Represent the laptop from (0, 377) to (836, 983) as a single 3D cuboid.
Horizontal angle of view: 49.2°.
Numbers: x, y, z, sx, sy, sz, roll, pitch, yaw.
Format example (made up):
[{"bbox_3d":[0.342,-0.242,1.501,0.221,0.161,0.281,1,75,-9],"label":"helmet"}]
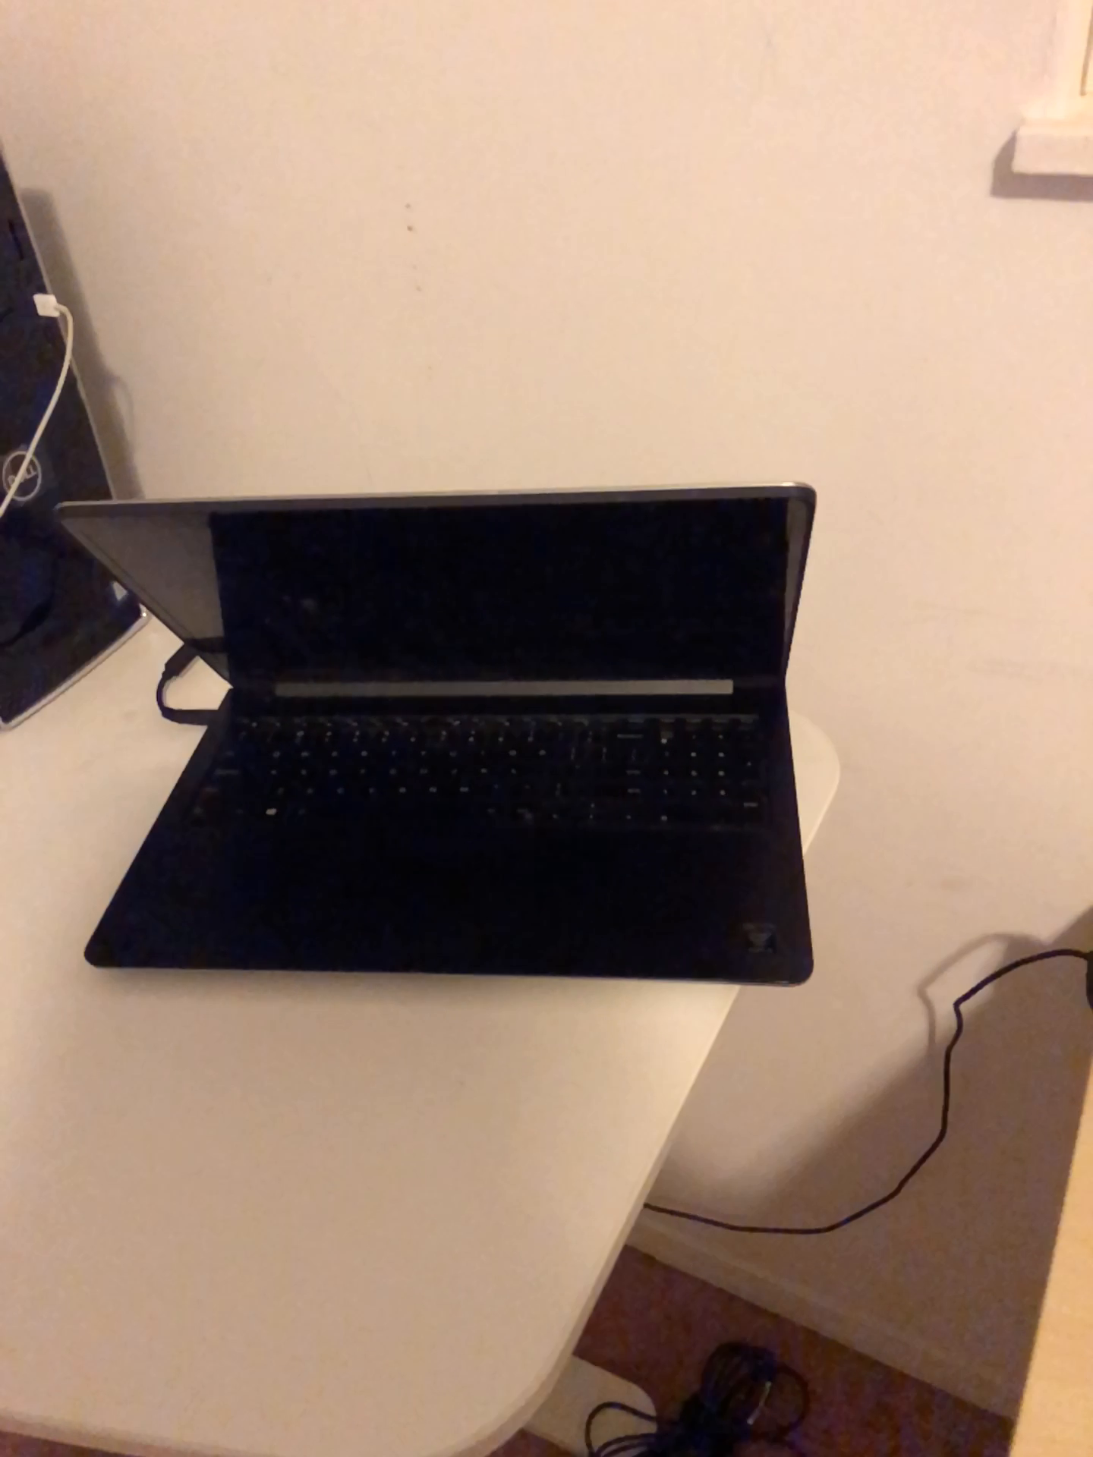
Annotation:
[{"bbox_3d":[-0.052,-0.035,0.647,0.373,0.207,0.252,0,36,9],"label":"laptop"}]
